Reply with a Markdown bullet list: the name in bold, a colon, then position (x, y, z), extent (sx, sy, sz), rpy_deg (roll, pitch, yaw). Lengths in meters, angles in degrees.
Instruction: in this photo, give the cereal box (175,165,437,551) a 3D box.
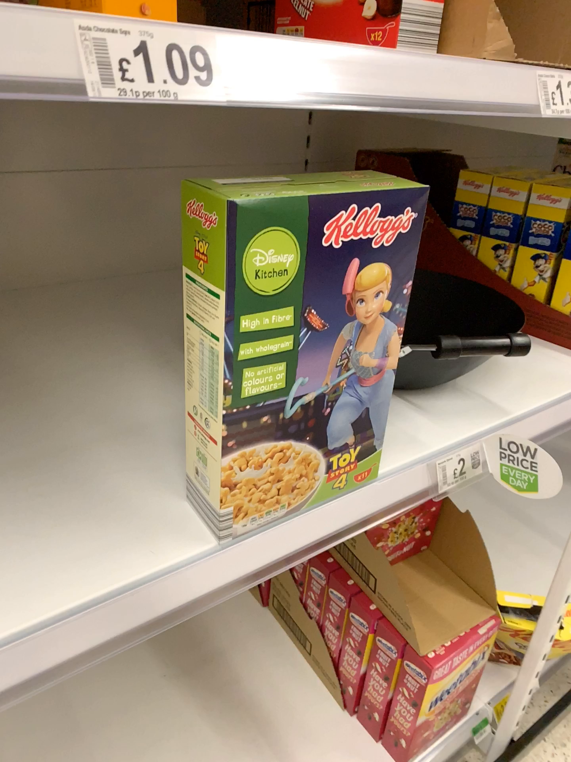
- **cereal box**: position (0.010, -0.025, 0.514), extent (0.191, 0.297, 0.080), rpy_deg (-14, 32, -33)
